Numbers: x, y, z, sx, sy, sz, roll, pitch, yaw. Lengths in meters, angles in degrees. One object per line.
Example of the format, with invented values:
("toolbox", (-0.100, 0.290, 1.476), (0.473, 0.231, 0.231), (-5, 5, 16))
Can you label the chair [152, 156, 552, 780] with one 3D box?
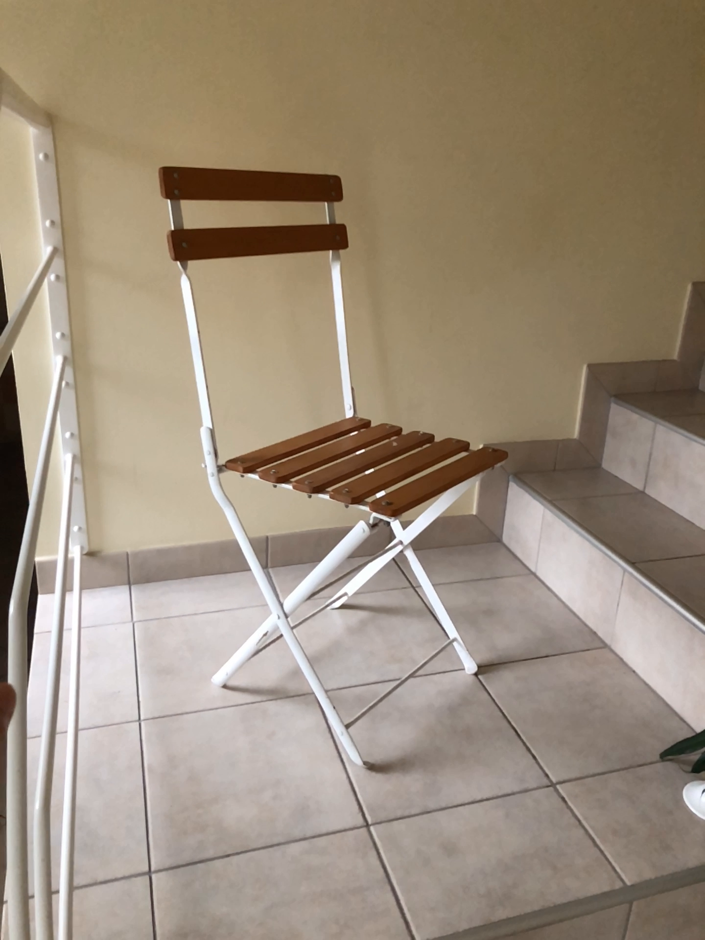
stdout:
("chair", (0.007, -0.048, 1.316), (0.430, 0.876, 0.442), (14, 23, 35))
